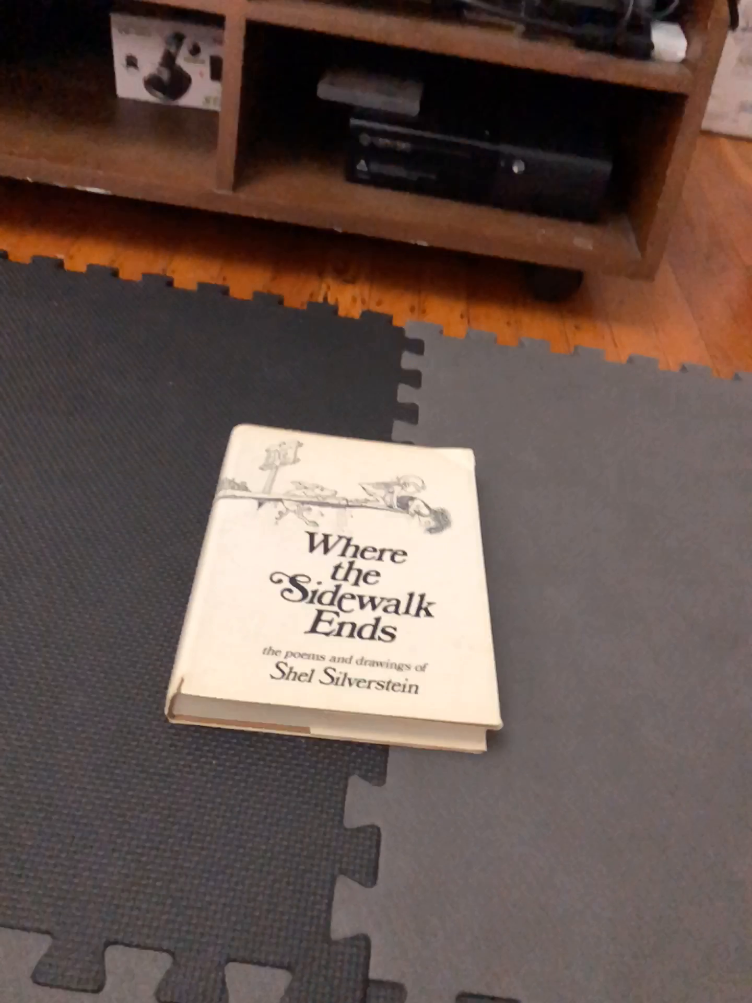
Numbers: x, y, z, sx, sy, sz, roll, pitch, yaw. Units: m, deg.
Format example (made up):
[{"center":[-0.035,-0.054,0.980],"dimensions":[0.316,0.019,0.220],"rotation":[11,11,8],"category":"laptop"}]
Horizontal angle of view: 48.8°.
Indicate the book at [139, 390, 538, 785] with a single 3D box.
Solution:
[{"center":[-0.014,0.033,0.528],"dimensions":[0.200,0.030,0.282],"rotation":[7,42,-4],"category":"book"}]
